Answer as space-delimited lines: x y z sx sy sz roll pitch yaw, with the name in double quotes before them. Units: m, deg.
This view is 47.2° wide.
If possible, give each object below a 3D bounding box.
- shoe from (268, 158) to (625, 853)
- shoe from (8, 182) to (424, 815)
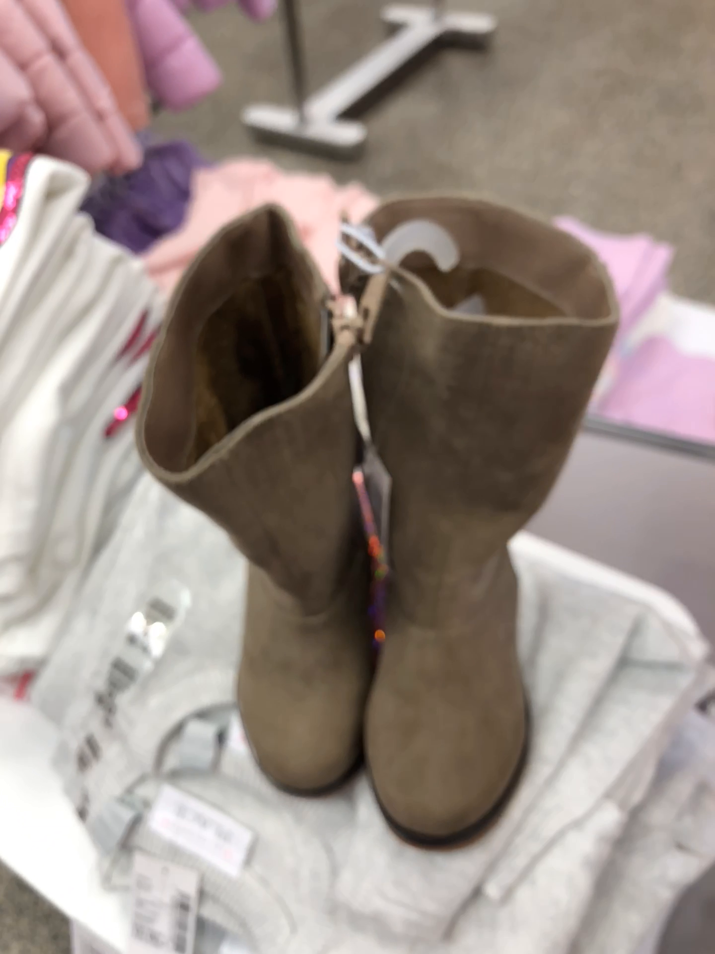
"shoe" 0.036 0.018 0.278 0.070 0.184 0.148 2 50 10
"shoe" -0.023 0.019 0.283 0.070 0.164 0.155 2 61 10
